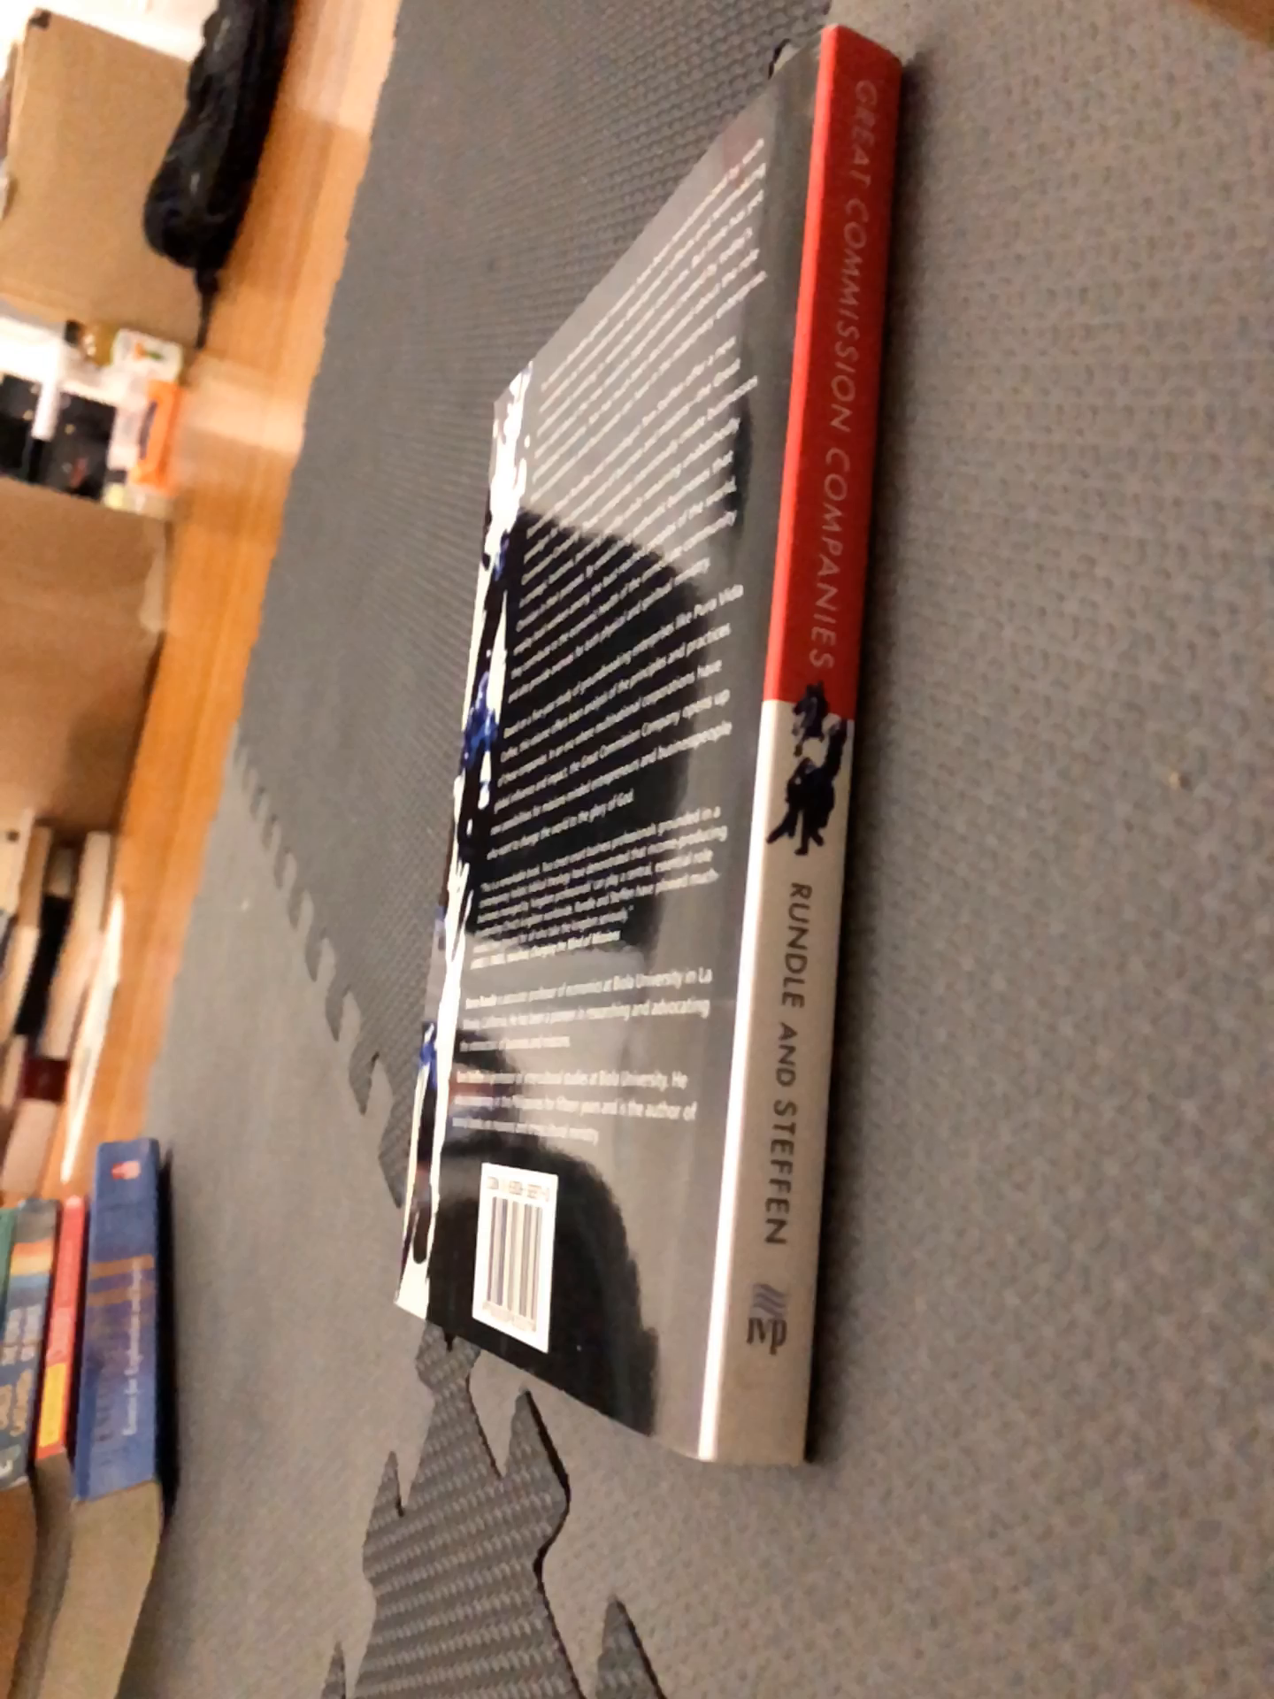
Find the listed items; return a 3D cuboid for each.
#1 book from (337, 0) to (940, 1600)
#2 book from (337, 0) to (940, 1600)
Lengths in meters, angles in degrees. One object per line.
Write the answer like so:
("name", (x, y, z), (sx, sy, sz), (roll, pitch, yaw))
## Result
("book", (-0.008, -0.016, 0.251), (0.151, 0.020, 0.230), (160, 119, -64))
("book", (-0.008, -0.016, 0.251), (0.151, 0.020, 0.230), (160, 119, -64))
